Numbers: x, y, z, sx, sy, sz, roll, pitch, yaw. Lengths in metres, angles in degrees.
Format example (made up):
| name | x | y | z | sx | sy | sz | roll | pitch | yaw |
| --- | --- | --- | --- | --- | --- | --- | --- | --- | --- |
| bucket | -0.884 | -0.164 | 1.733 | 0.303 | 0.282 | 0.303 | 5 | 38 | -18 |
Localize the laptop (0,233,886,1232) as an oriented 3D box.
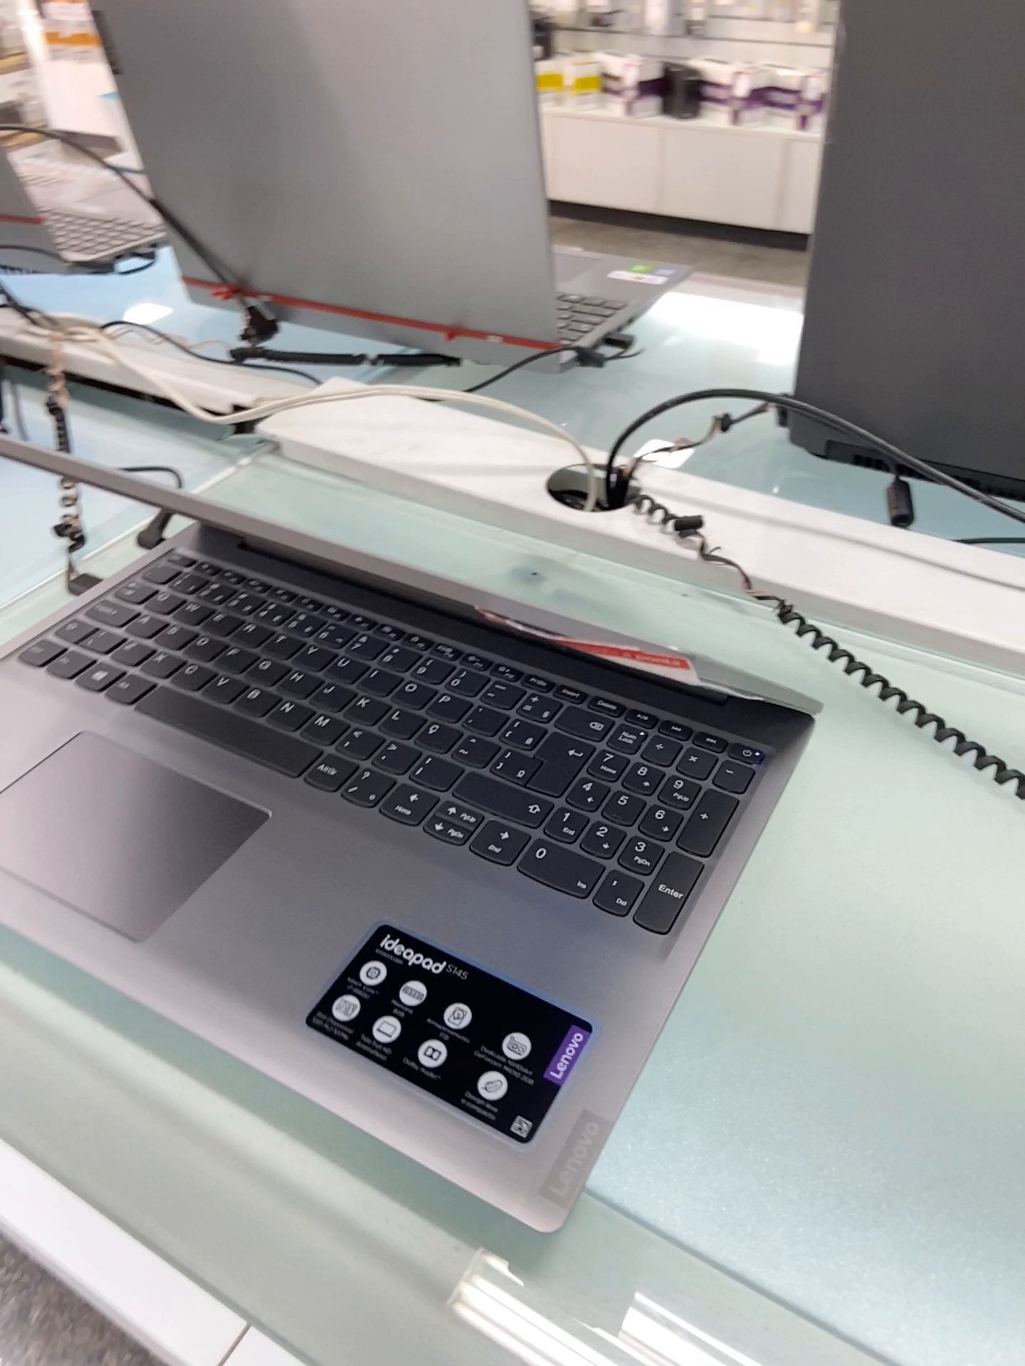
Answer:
| name | x | y | z | sx | sy | sz | roll | pitch | yaw |
| --- | --- | --- | --- | --- | --- | --- | --- | --- | --- |
| laptop | -0.089 | -0.031 | 0.397 | 0.362 | 0.160 | 0.246 | 18 | 43 | 23 |
